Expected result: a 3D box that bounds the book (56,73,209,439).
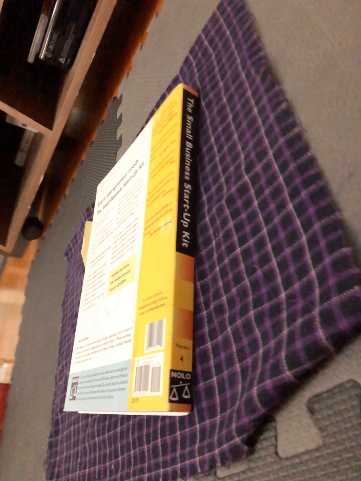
[{"bbox_3d":[-0.053,0.023,0.411,0.231,0.030,0.310,-32,48,52],"label":"book"}]
